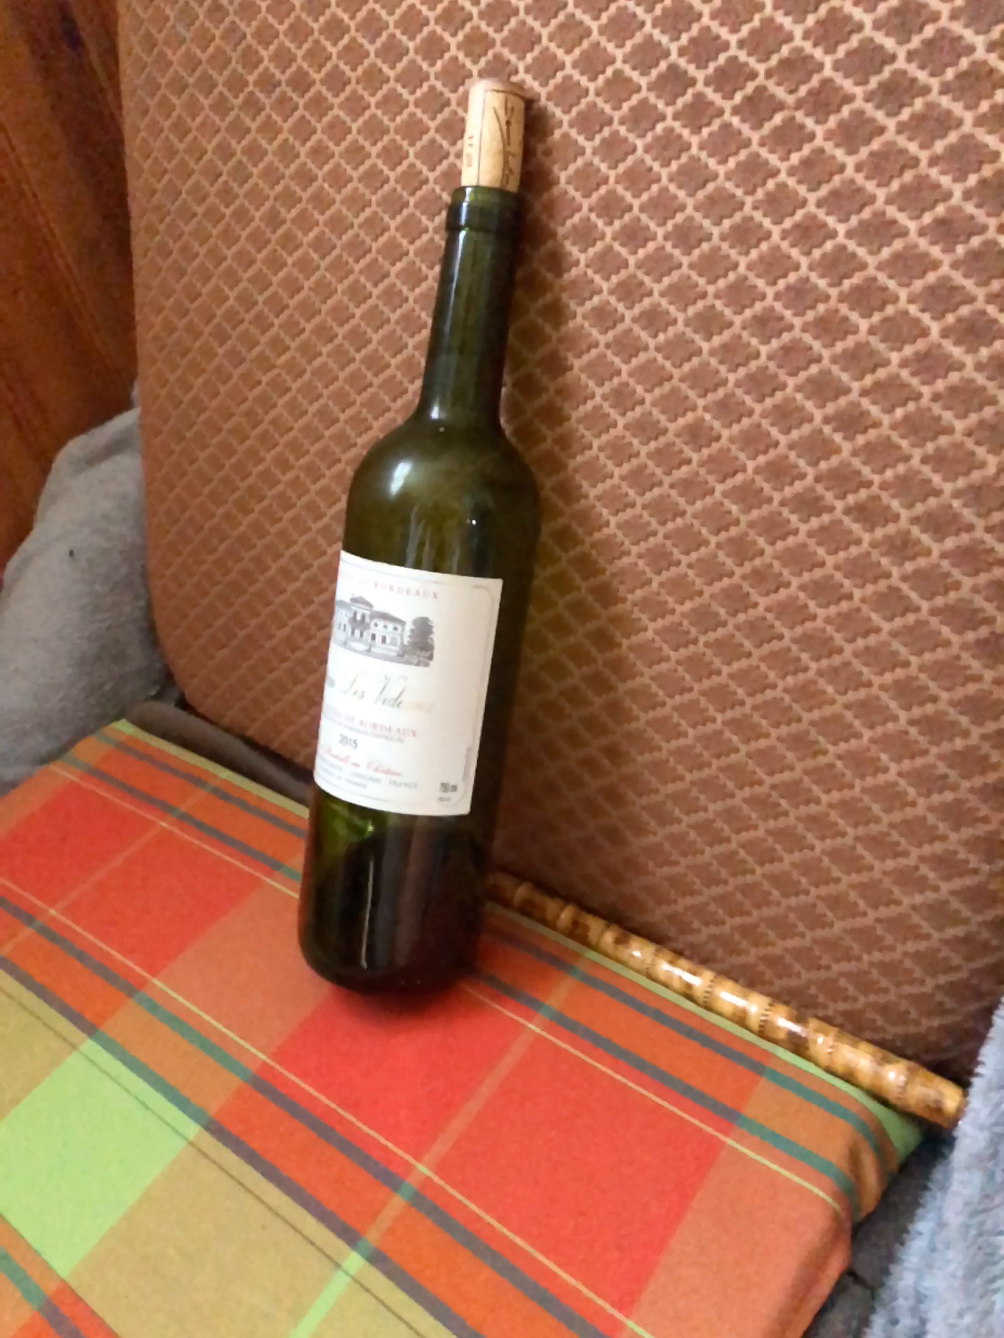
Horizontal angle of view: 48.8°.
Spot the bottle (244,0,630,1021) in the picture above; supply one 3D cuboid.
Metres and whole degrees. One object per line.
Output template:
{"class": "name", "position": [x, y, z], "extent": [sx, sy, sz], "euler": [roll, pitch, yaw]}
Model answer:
{"class": "bottle", "position": [-0.030, -0.052, 0.411], "extent": [0.070, 0.339, 0.080], "euler": [-3, 14, -44]}
